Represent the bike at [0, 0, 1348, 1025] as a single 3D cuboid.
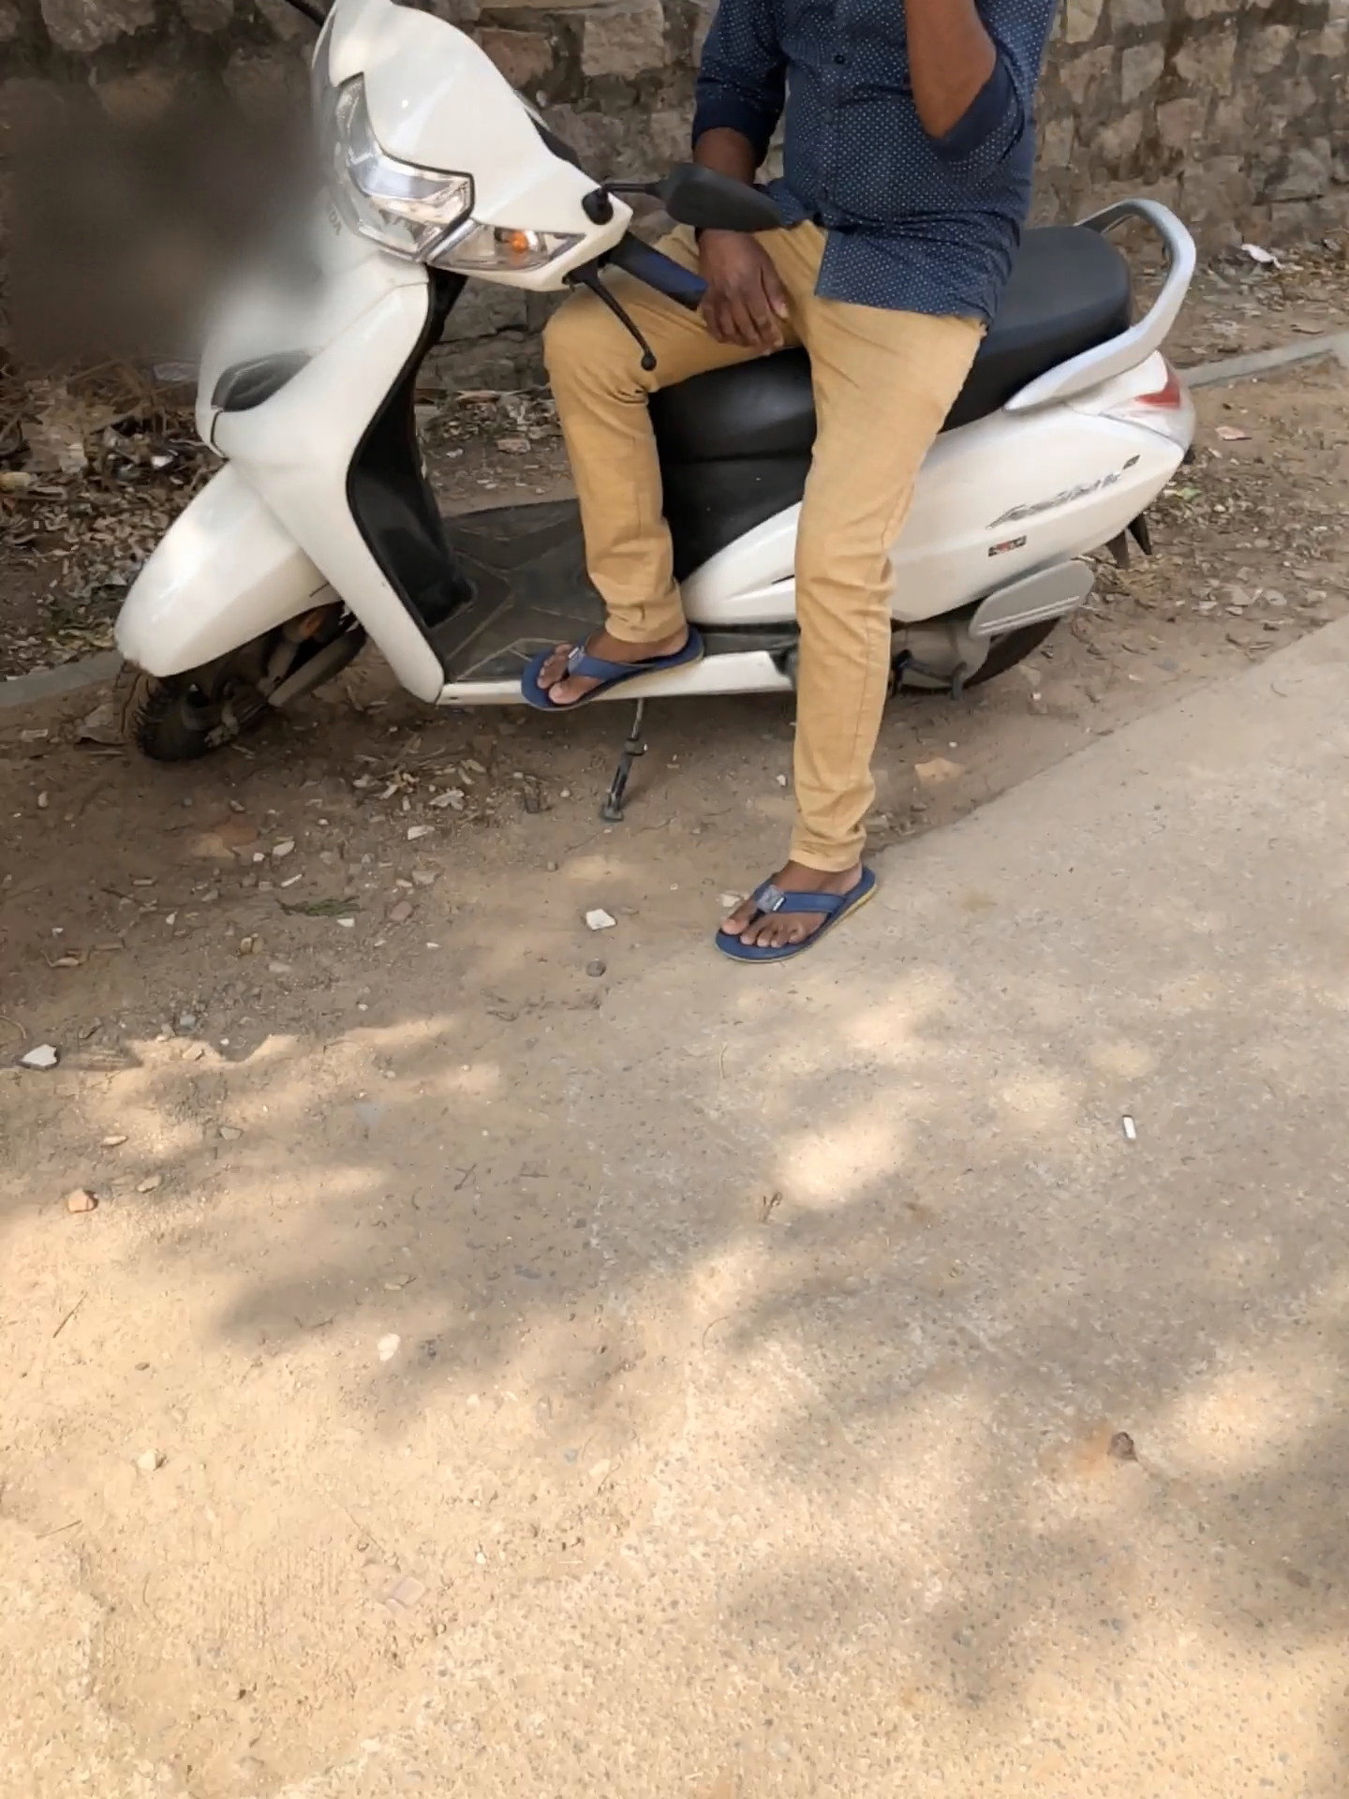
[{"bbox_3d":[-0.032,-0.625,2.039,1.590,1.200,0.624,-11,38,-15],"label":"bike"}]
